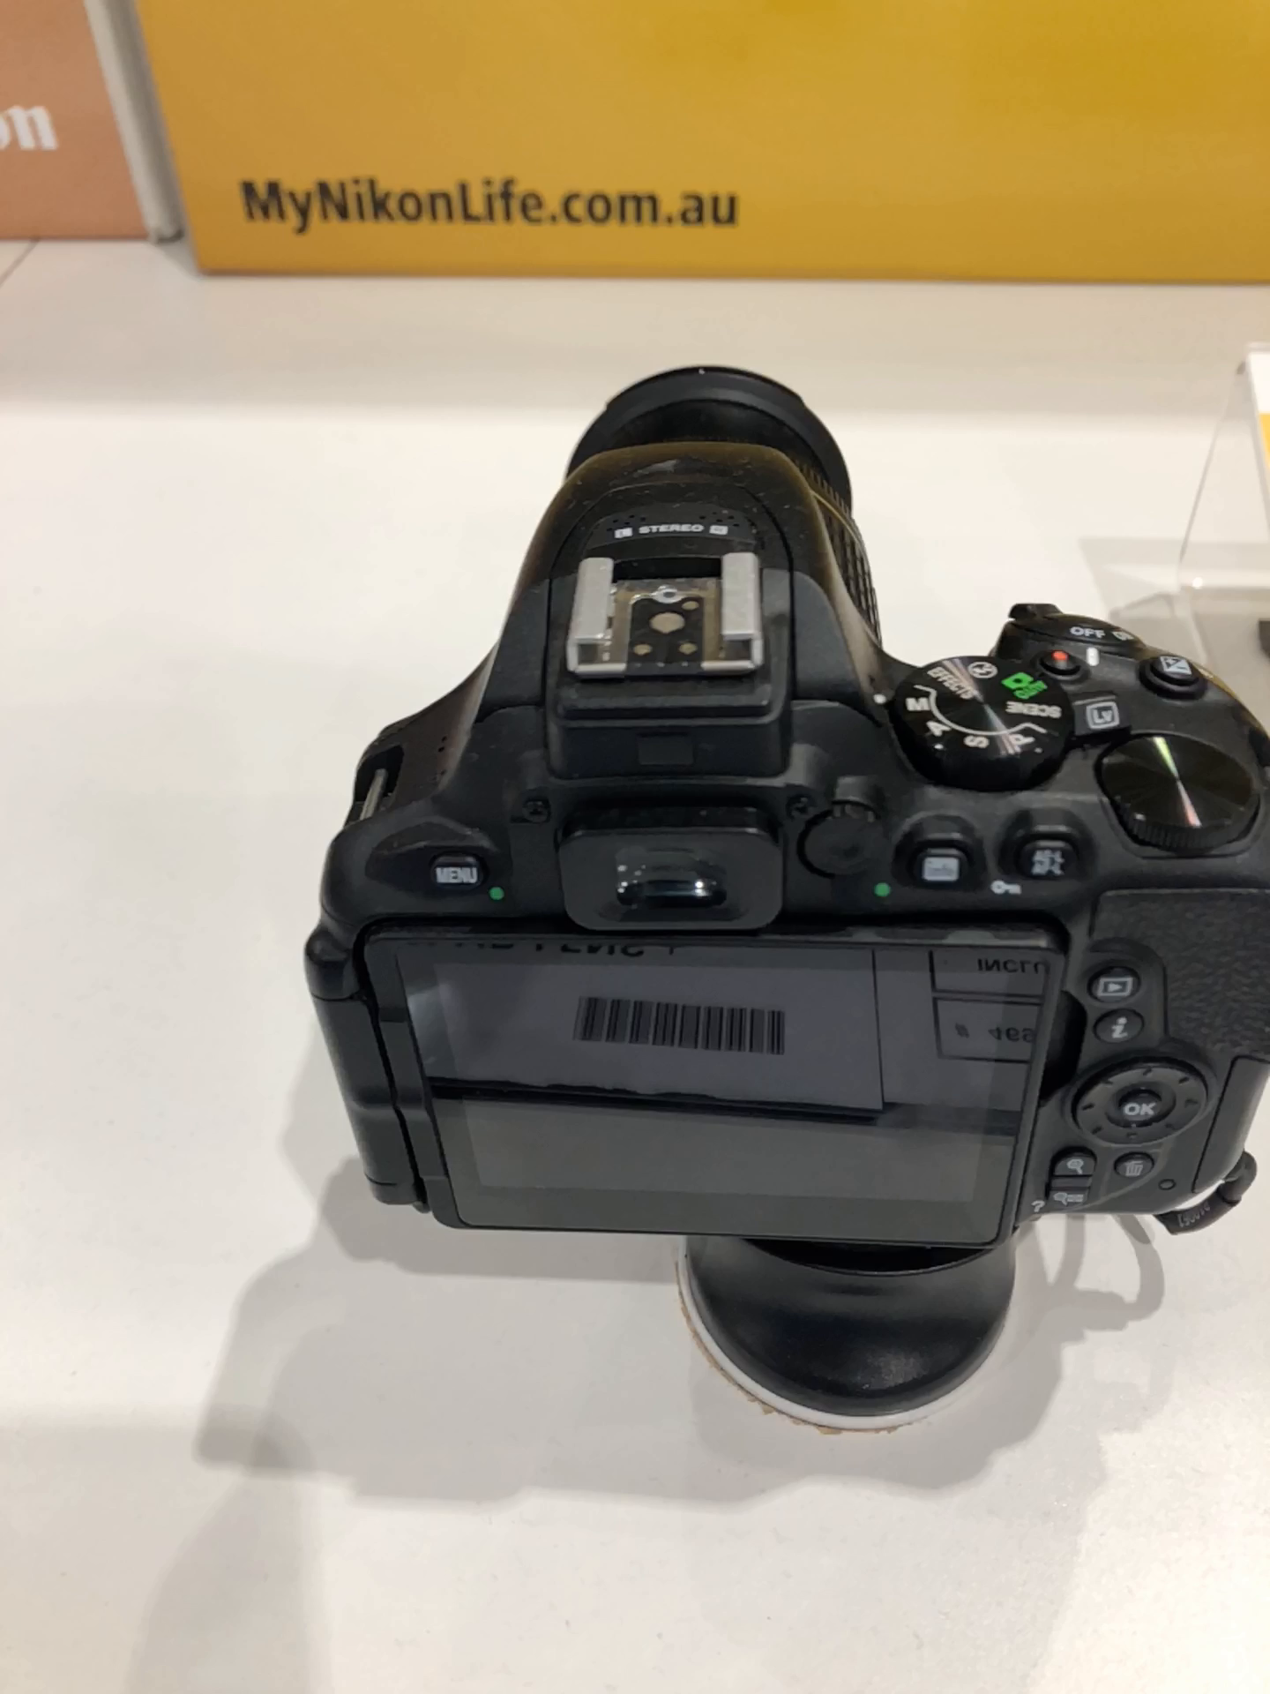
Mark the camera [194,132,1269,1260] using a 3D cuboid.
[{"bbox_3d":[0.026,-0.035,0.229,0.127,0.097,0.163,1,45,4],"label":"camera"}]
